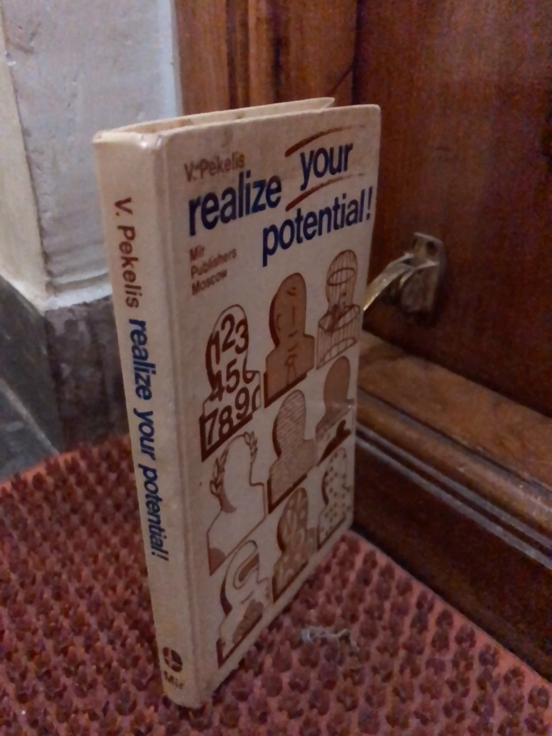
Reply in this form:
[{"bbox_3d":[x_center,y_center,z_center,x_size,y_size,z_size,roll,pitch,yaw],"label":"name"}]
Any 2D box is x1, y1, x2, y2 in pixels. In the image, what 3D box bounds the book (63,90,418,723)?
[{"bbox_3d":[0.004,0.007,0.249,0.030,0.209,0.151,16,31,32],"label":"book"}]
